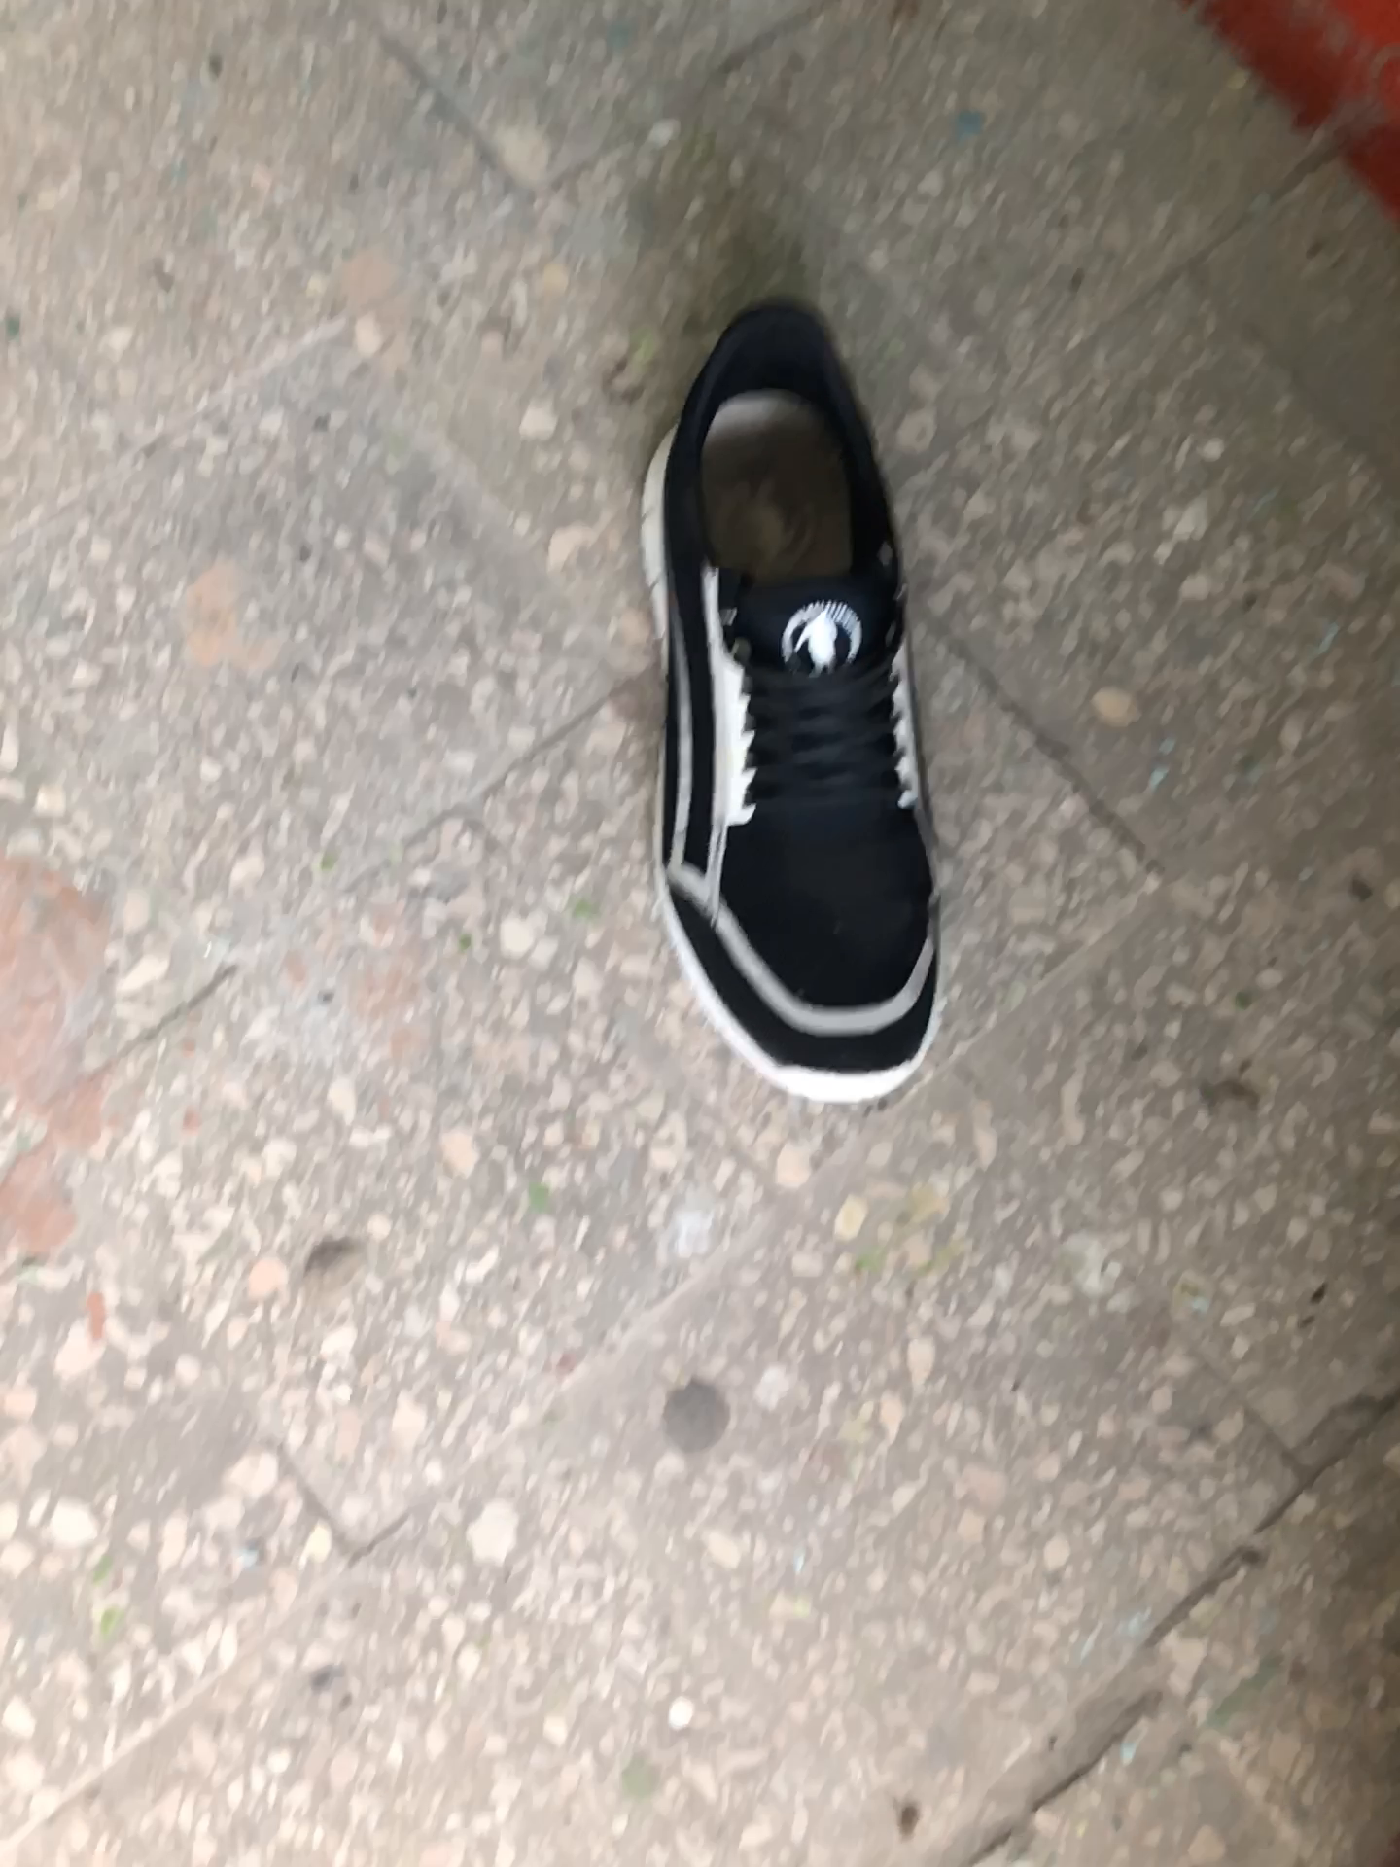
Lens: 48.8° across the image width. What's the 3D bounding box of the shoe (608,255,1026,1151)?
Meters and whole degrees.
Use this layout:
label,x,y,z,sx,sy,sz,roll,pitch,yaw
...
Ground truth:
label,x,y,z,sx,sy,sz,roll,pitch,yaw
shoe,0.030,-0.074,0.541,0.100,0.120,0.280,-5,78,-4
